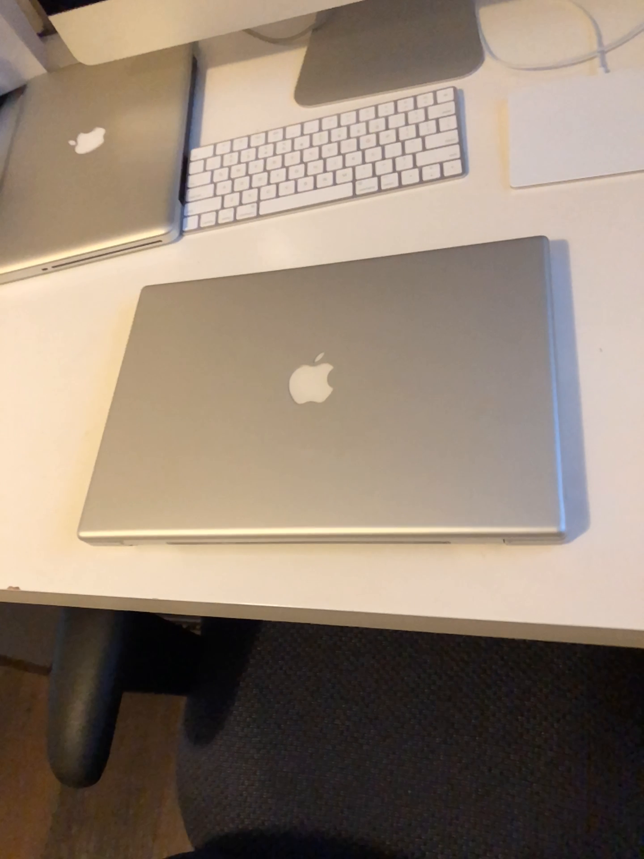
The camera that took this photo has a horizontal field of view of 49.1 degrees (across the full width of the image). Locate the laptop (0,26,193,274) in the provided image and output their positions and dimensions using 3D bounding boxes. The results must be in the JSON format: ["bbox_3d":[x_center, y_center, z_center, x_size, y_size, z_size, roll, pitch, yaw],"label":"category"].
[{"bbox_3d":[-0.249,-0.305,0.752,0.200,0.009,0.279,-7,63,12],"label":"laptop"}]

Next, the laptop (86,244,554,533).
[{"bbox_3d":[-0.005,-0.029,0.526,0.333,0.005,0.214,-3,64,17],"label":"laptop"}]
